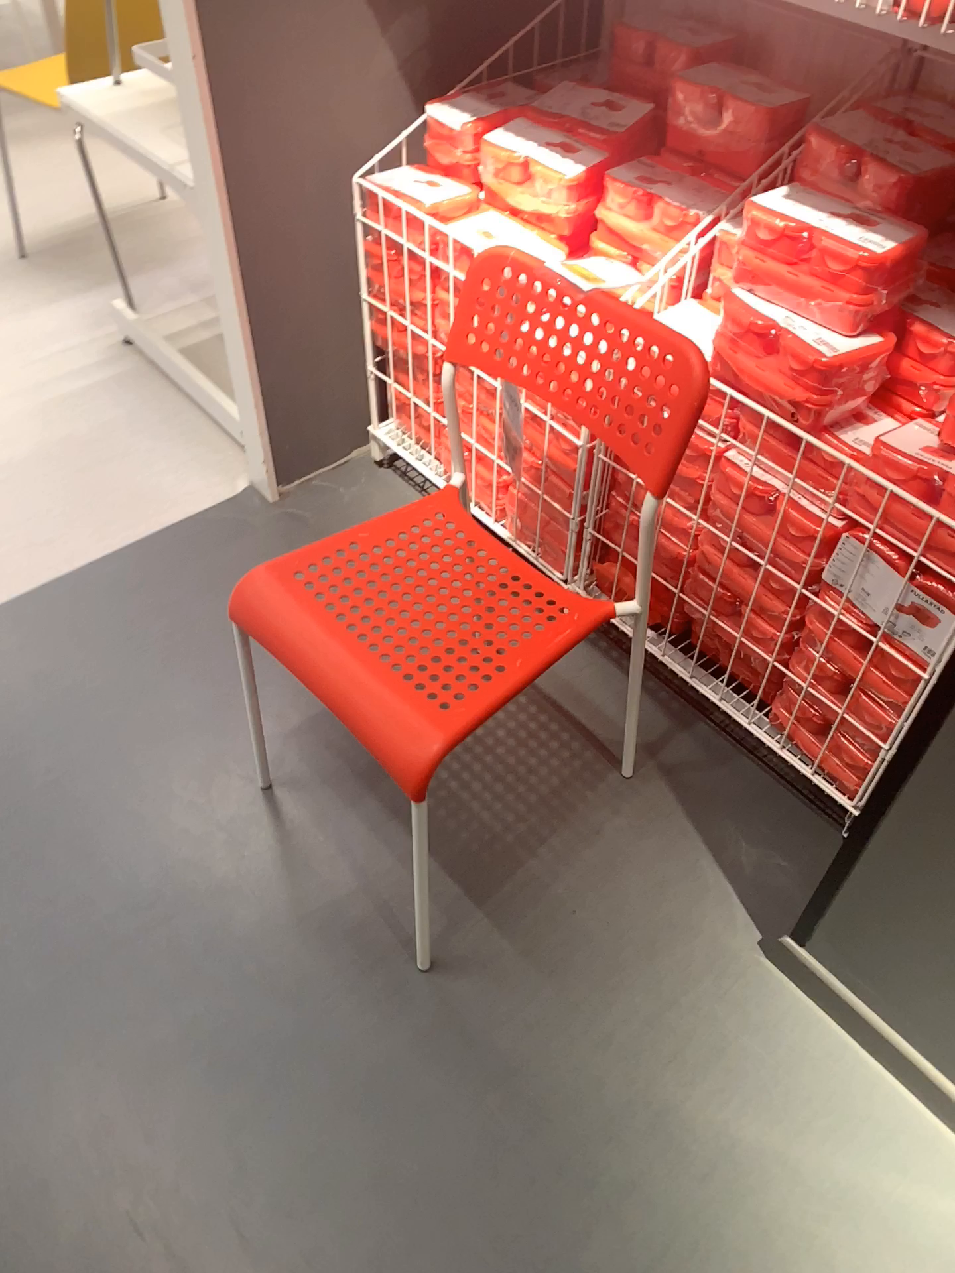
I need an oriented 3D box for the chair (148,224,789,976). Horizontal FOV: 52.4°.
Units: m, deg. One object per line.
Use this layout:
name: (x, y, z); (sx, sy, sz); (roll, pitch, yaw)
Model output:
chair: (-0.016, -0.027, 1.186); (0.461, 0.688, 0.411); (-32, 56, -27)
